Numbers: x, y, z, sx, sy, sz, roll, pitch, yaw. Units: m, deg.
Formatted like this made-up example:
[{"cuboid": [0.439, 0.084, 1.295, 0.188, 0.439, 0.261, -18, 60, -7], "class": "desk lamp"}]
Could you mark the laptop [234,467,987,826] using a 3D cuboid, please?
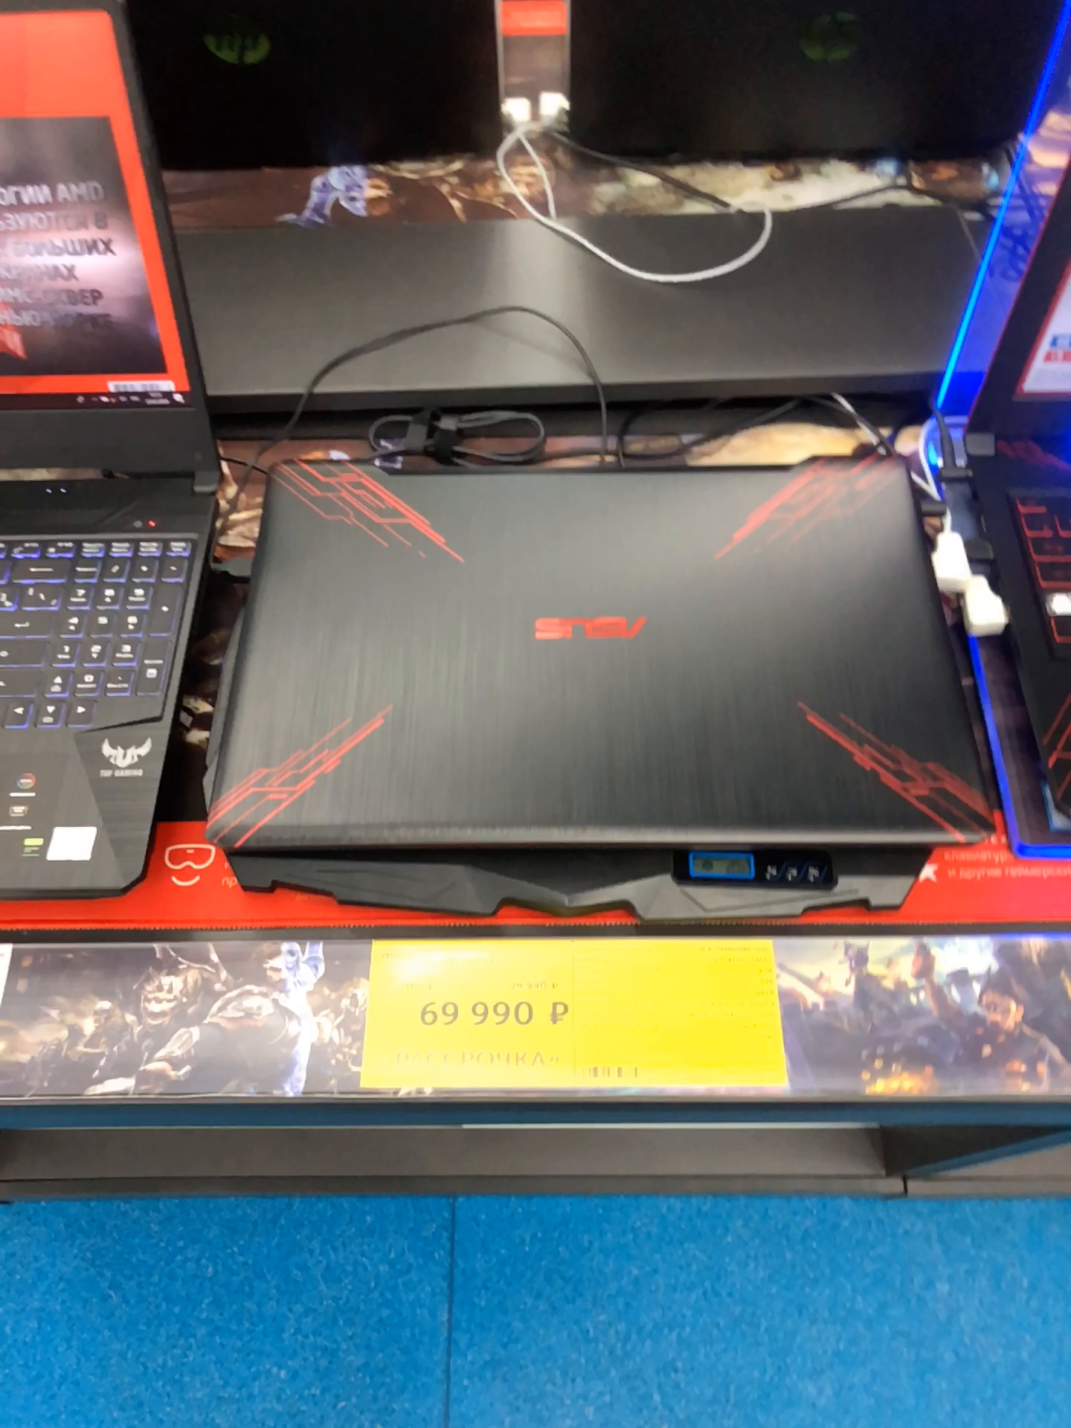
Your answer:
[{"cuboid": [0.035, -0.046, 0.630, 0.358, 0.003, 0.240, 0, 55, 2], "class": "laptop"}]
